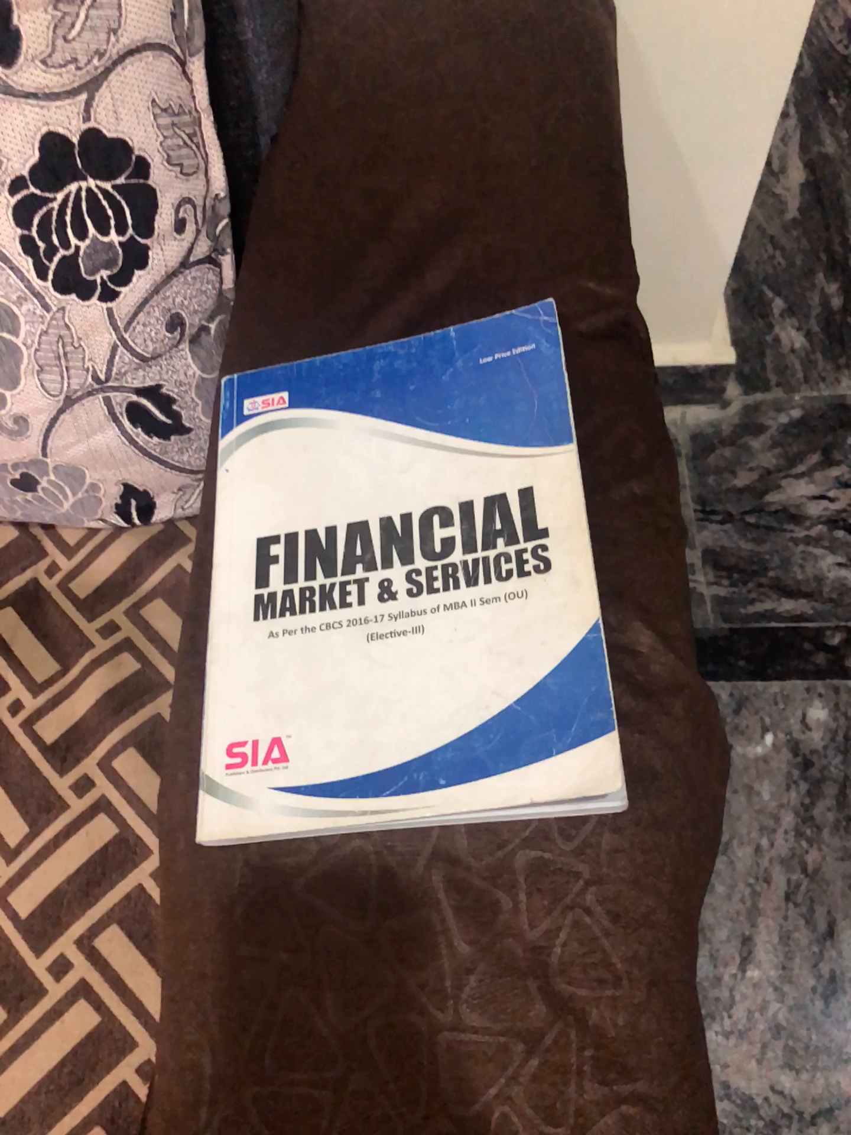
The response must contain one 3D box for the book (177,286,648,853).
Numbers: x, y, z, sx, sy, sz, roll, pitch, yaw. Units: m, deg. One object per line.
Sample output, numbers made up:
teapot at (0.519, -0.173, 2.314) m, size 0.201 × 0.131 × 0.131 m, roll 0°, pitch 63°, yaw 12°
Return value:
book at (-0.014, -0.008, 0.511) m, size 0.220 × 0.040 × 0.290 m, roll -9°, pitch 63°, yaw 10°
